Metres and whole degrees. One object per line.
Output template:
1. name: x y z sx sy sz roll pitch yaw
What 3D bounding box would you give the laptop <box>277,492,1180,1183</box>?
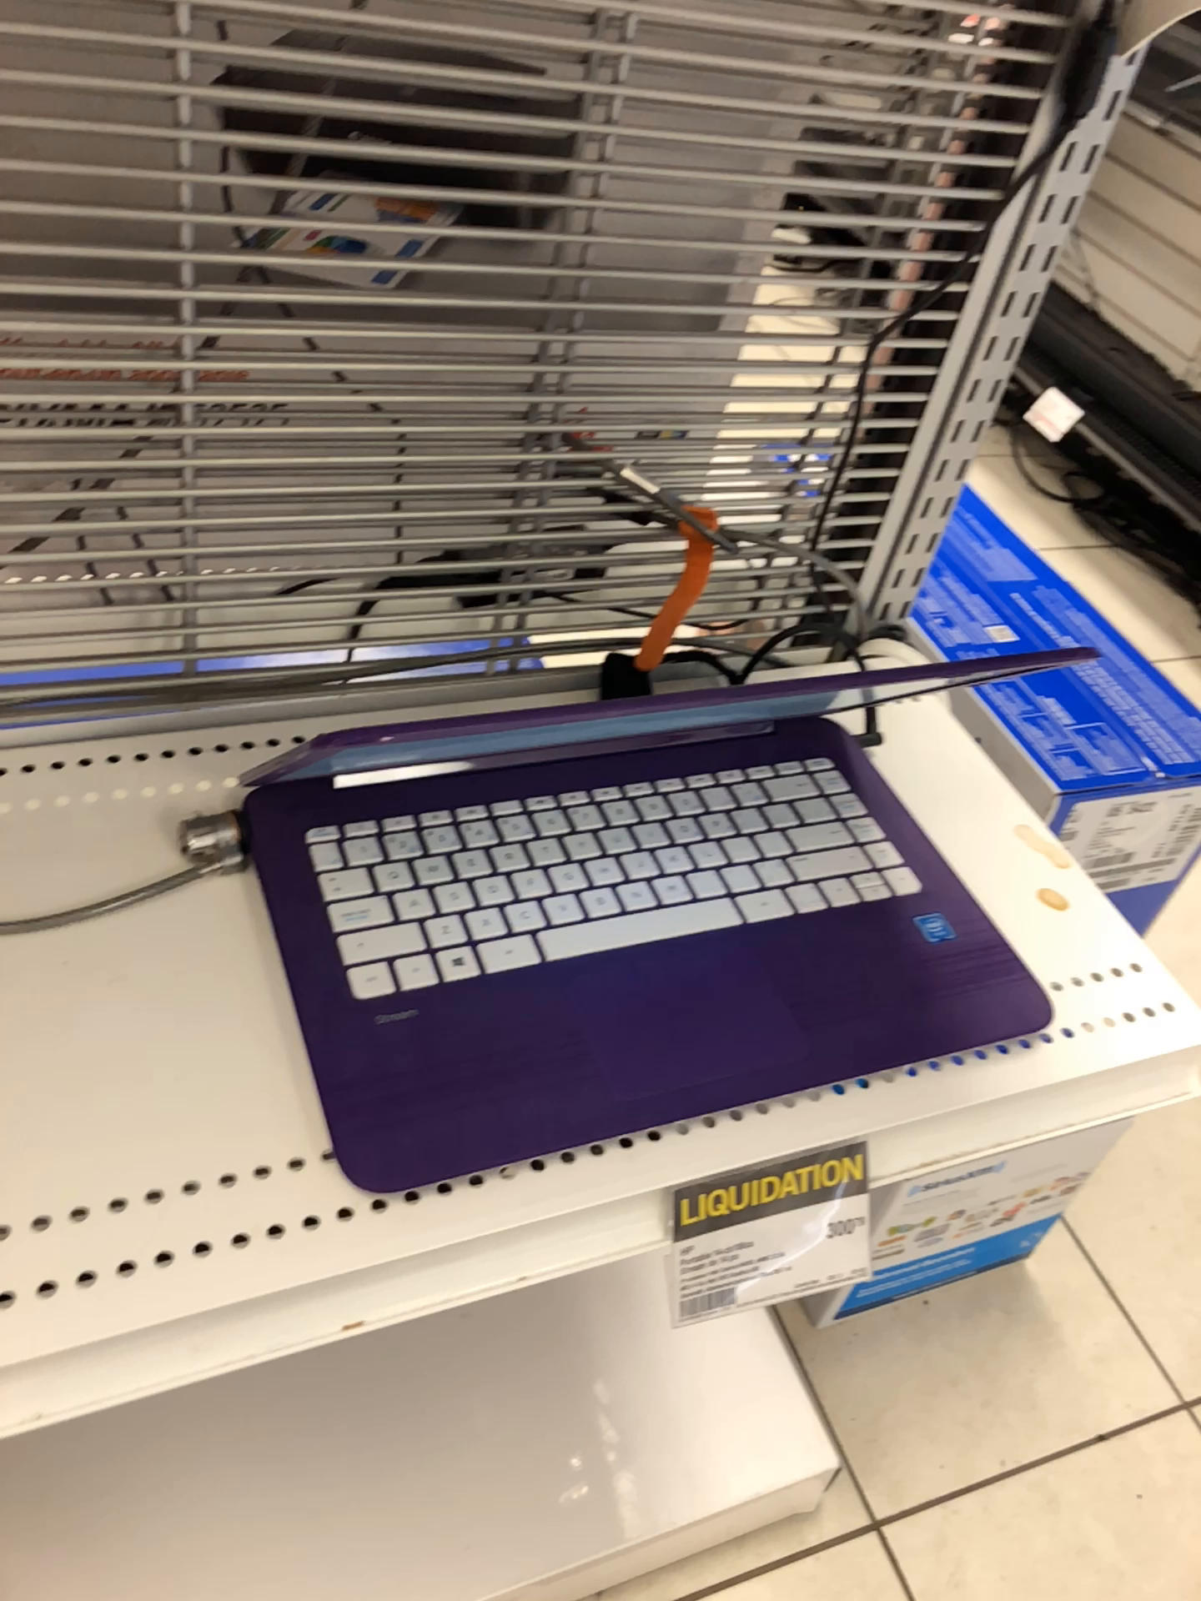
1. laptop: 0.037 -0.005 0.561 0.305 0.138 0.207 -8 47 -22
